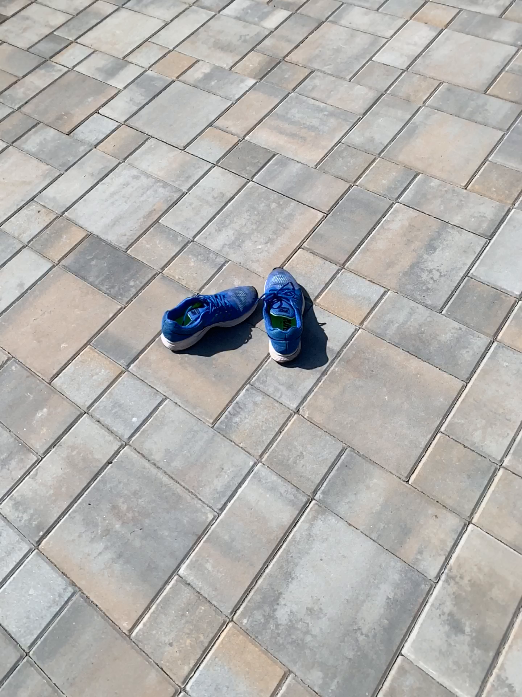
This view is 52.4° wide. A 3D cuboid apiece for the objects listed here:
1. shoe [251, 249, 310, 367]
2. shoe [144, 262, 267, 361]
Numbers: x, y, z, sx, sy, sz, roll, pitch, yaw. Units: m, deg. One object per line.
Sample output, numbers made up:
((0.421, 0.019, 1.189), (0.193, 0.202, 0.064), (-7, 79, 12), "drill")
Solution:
((0.048, -0.104, 1.336), (0.120, 0.110, 0.271), (-6, 59, 3), "shoe")
((-0.138, -0.097, 1.353), (0.280, 0.080, 0.120), (-28, 60, -11), "shoe")
